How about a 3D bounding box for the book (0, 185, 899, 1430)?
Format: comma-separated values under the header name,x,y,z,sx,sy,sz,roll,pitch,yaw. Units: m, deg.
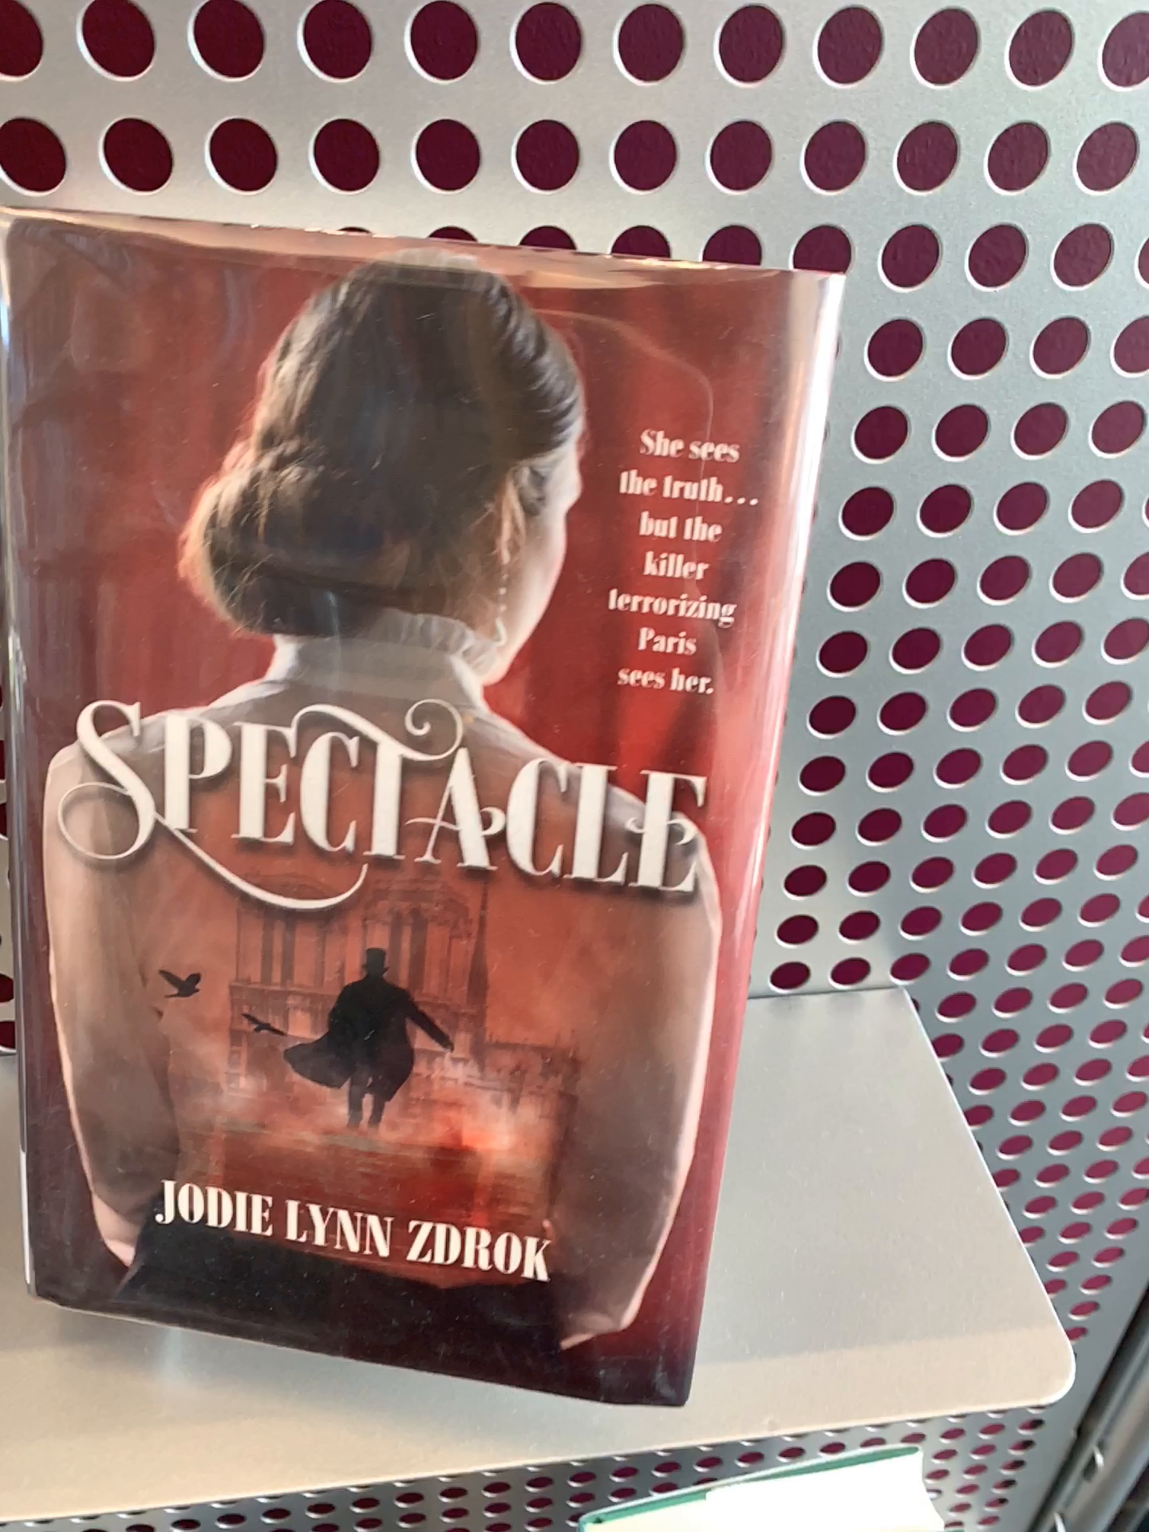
name,x,y,z,sx,sy,sz,roll,pitch,yaw
book,-0.032,0.009,0.237,0.153,0.212,0.059,6,16,7
